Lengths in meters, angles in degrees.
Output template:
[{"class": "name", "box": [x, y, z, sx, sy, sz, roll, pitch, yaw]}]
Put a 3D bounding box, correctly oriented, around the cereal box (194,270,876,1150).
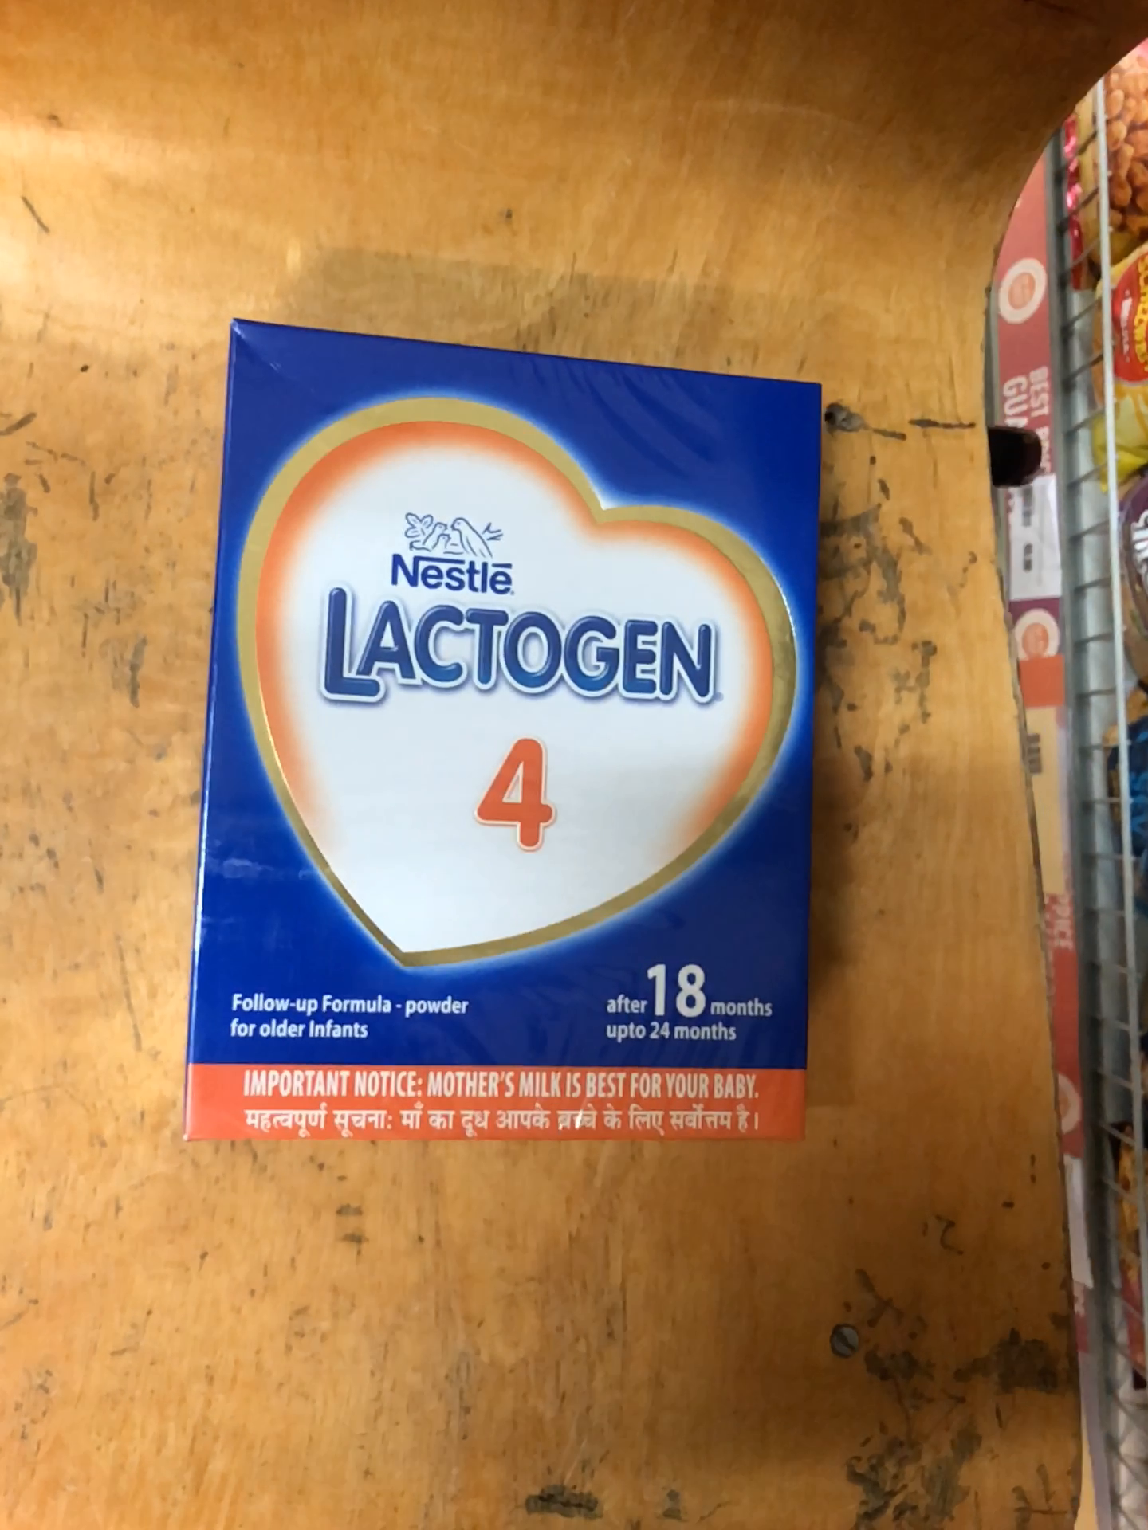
[{"class": "cereal box", "box": [-0.009, -0.009, 0.318, 0.150, 0.060, 0.190, 2, 87, -11]}]
